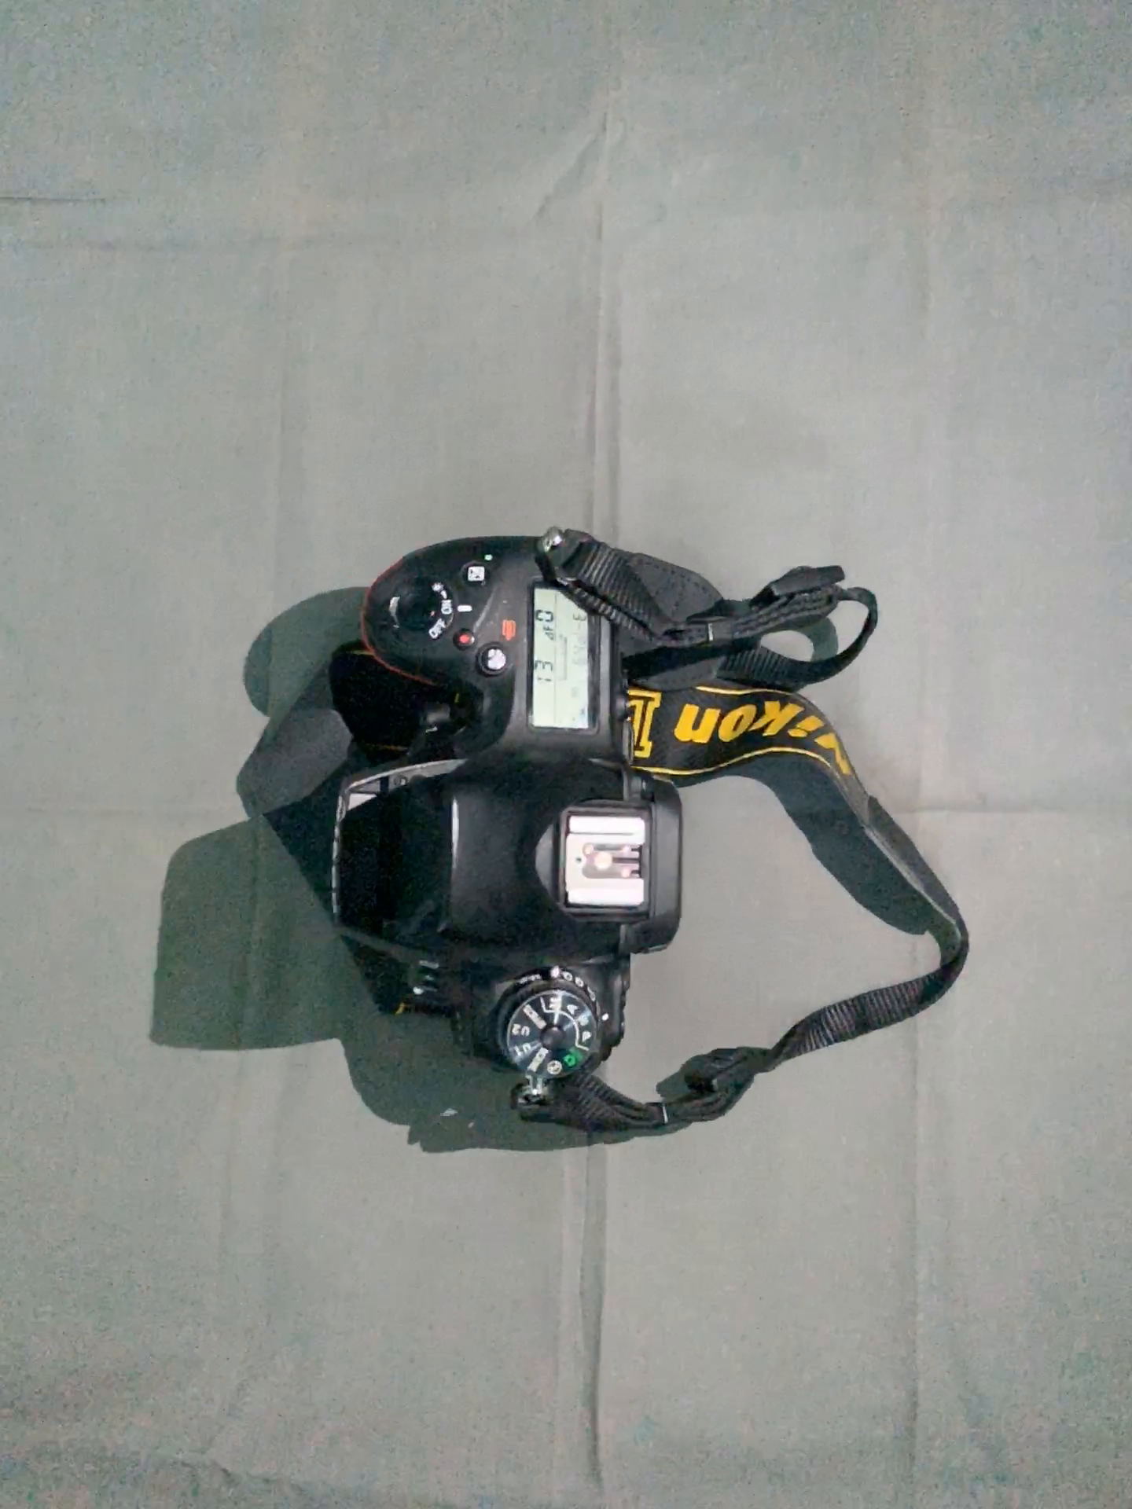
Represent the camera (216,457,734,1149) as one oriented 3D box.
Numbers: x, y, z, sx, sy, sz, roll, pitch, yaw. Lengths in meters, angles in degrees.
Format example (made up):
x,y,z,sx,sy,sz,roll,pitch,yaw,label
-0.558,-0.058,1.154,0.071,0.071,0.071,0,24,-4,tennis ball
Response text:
x,y,z,sx,sy,sz,roll,pitch,yaw,label
-0.018,0.016,0.305,0.100,0.126,0.140,3,83,0,camera
